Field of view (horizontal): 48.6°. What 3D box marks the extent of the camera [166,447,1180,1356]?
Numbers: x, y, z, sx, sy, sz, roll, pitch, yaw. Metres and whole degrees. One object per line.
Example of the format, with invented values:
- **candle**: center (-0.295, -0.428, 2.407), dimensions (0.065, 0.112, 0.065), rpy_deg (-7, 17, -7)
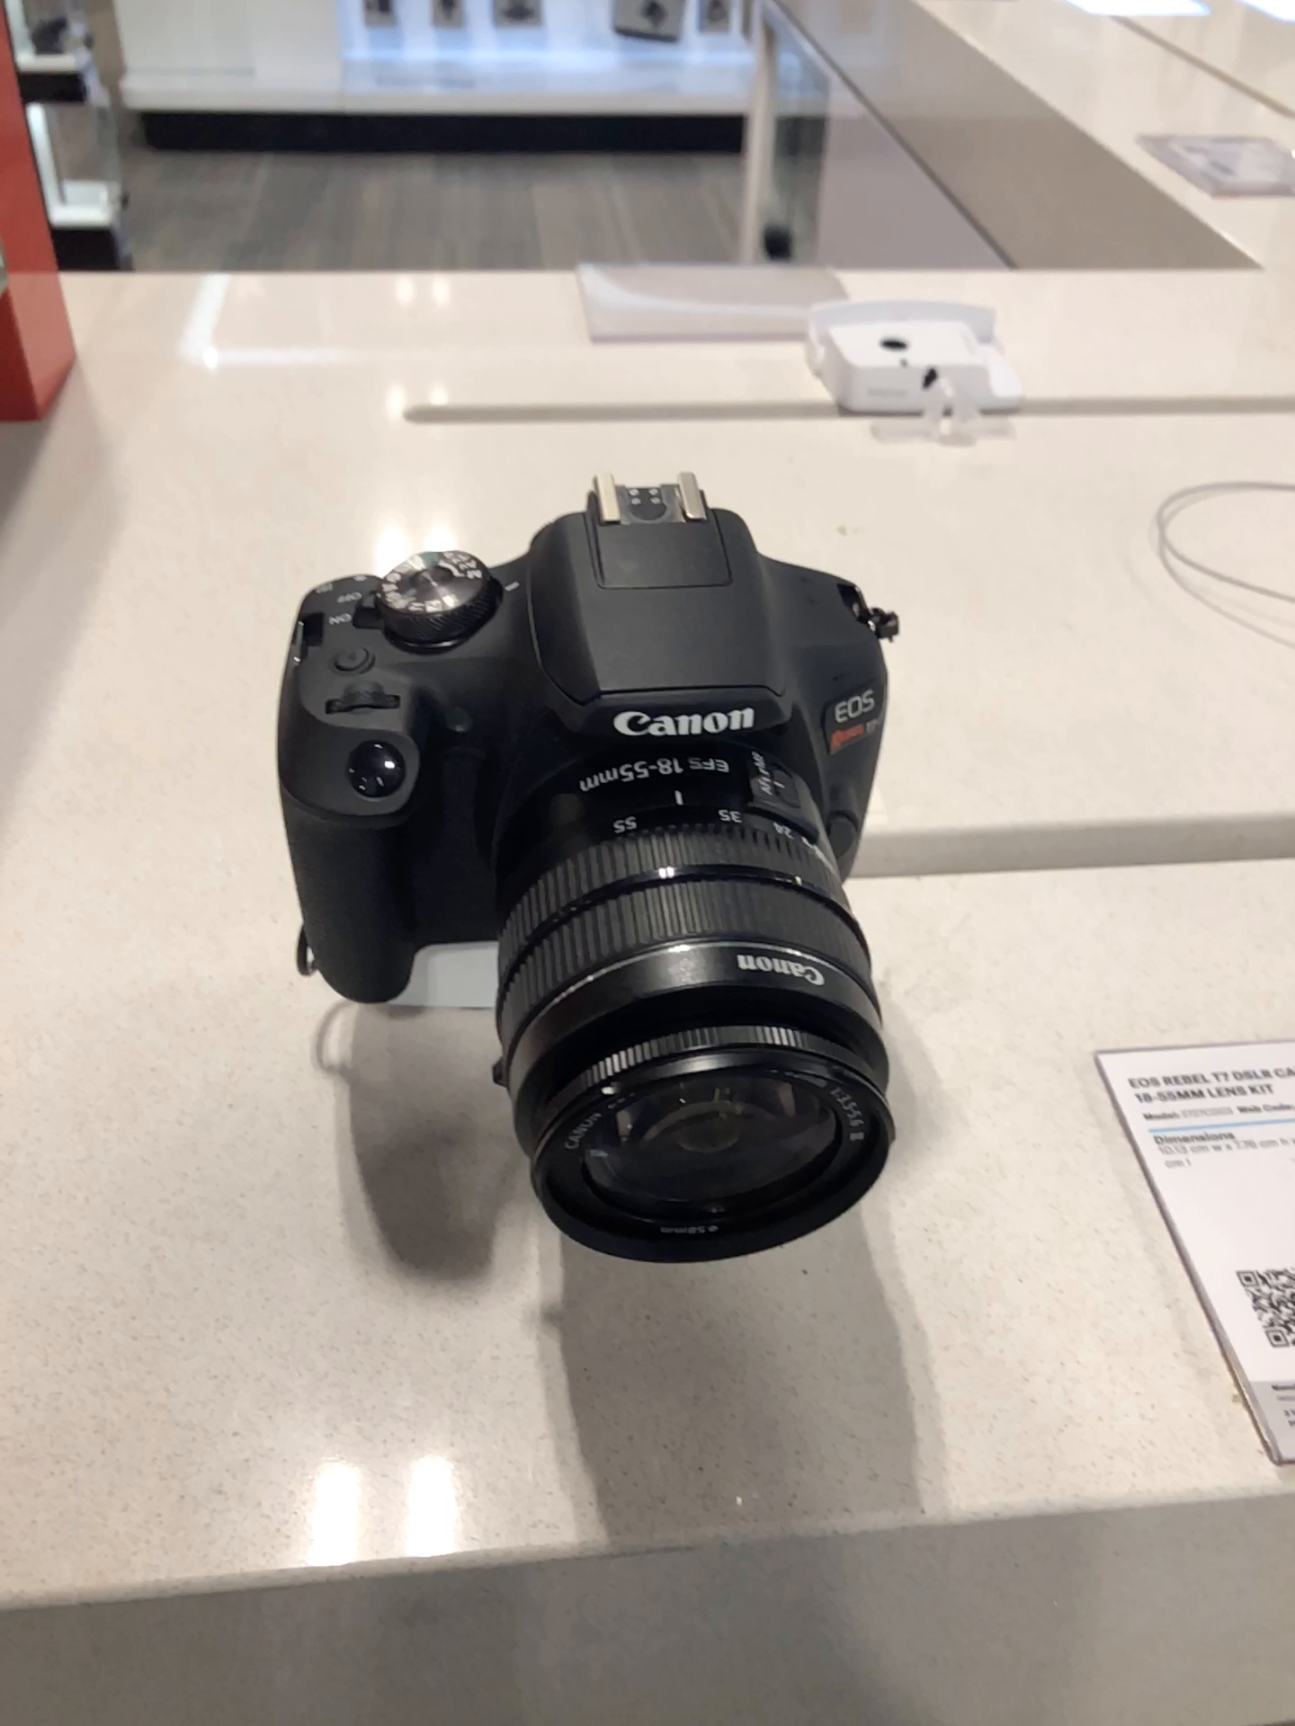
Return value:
- **camera**: center (-0.006, -0.004, 0.281), dimensions (0.140, 0.089, 0.151), rpy_deg (-5, 40, -8)
